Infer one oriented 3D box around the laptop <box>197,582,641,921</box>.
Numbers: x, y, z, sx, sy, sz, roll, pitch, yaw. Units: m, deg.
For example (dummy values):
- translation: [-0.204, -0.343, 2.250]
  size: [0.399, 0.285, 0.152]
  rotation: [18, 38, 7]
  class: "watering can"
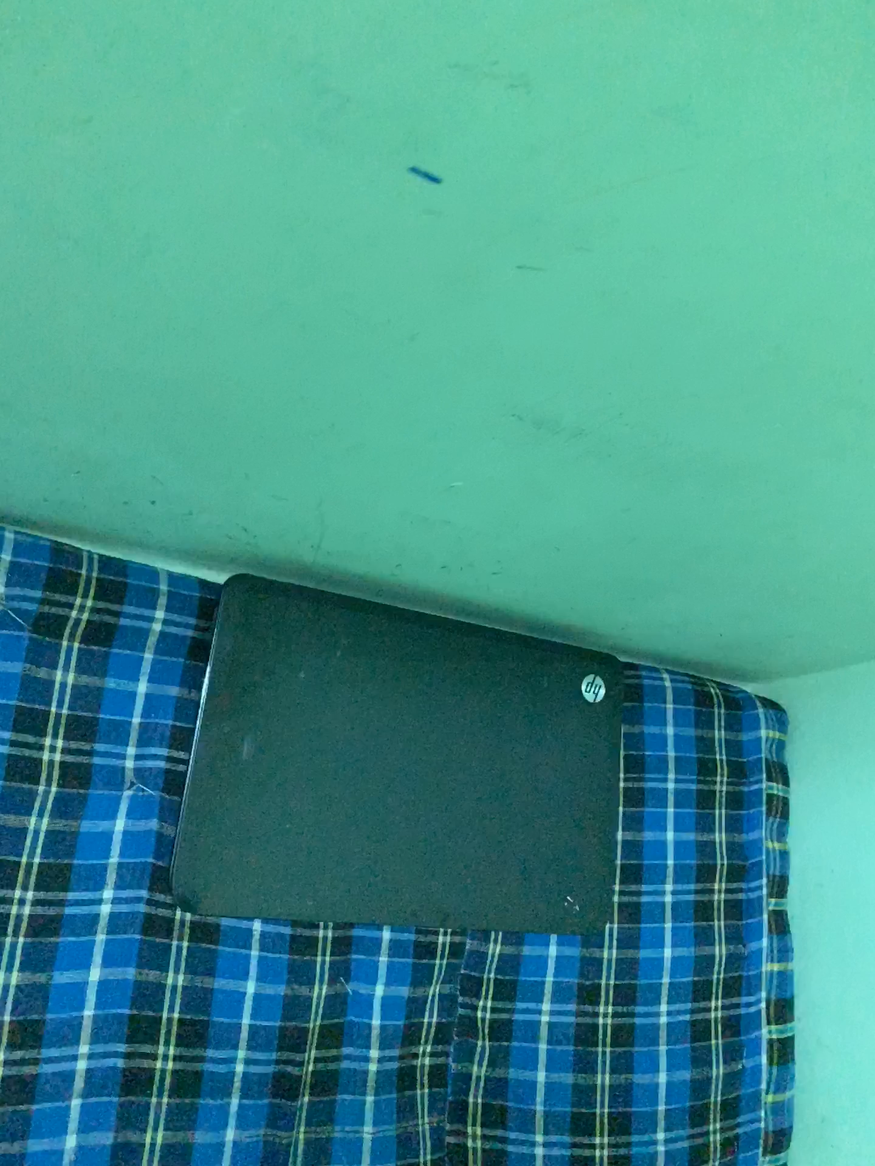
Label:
- translation: [0.009, 0.139, 0.684]
  size: [0.346, 0.018, 0.217]
  rotation: [12, 75, -26]
  class: "laptop"
